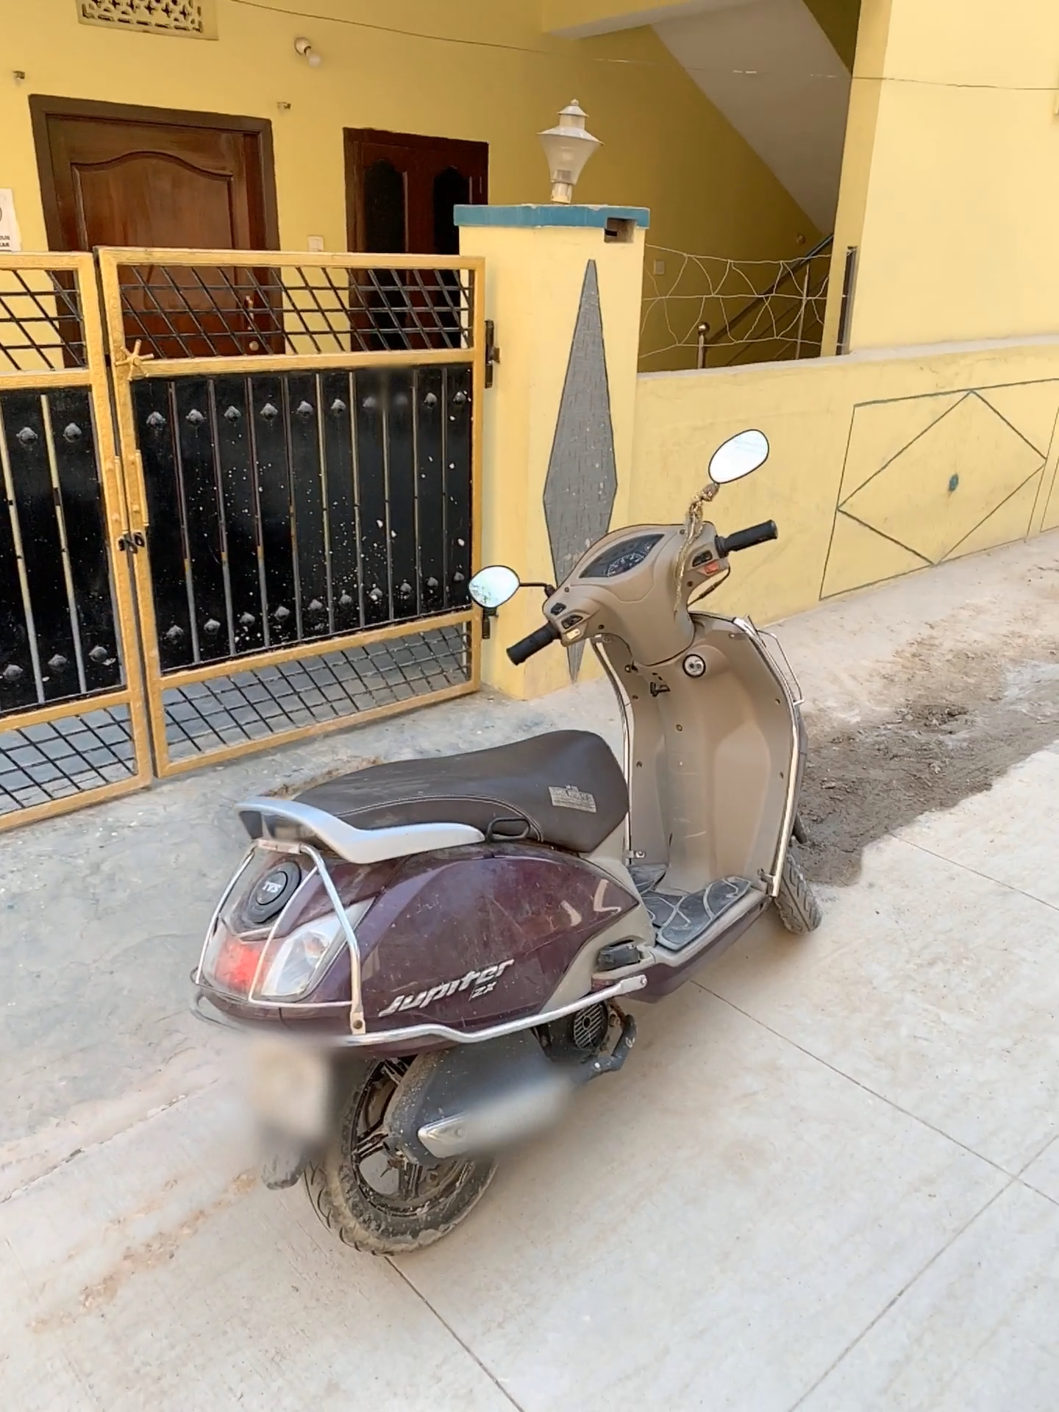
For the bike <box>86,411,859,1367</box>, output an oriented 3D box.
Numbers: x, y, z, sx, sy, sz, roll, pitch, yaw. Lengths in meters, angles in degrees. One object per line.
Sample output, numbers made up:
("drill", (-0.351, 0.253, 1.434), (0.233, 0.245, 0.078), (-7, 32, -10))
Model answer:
("bike", (0.013, 0.167, 2.246), (0.614, 1.159, 1.529), (17, 31, 34))
